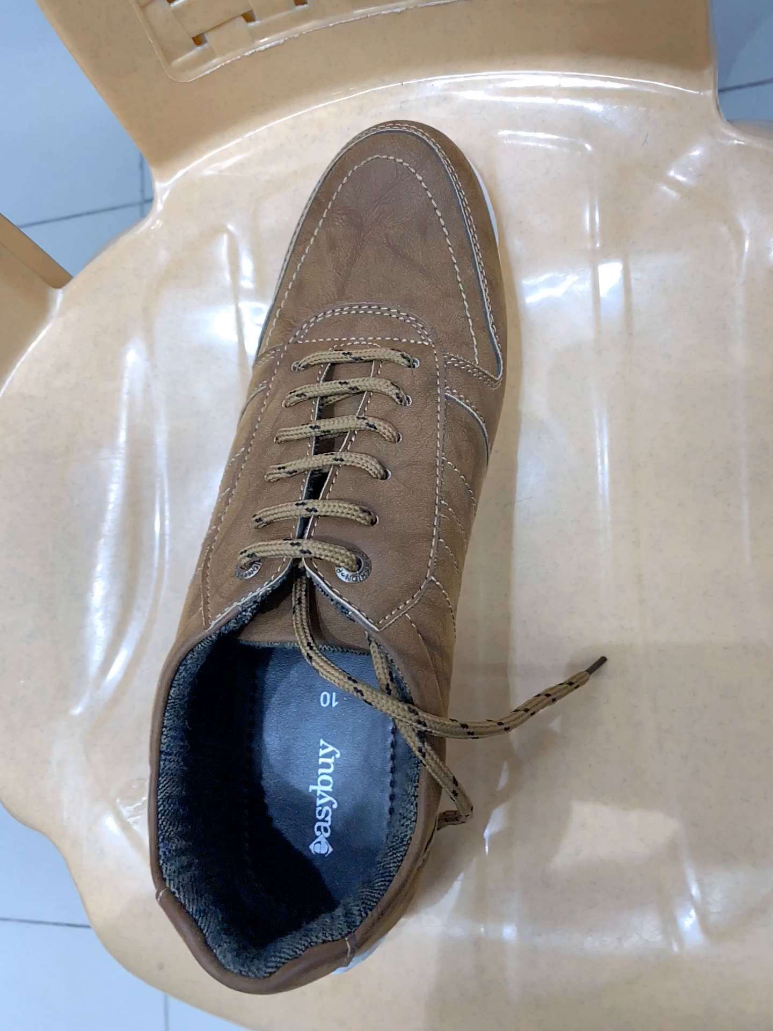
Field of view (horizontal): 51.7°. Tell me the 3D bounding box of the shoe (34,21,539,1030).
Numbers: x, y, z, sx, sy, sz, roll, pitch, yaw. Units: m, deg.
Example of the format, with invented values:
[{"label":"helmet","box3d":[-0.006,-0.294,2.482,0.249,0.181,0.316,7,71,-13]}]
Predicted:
[{"label":"shoe","box3d":[-0.015,0.000,0.285,0.100,0.100,0.310,3,76,18]}]
